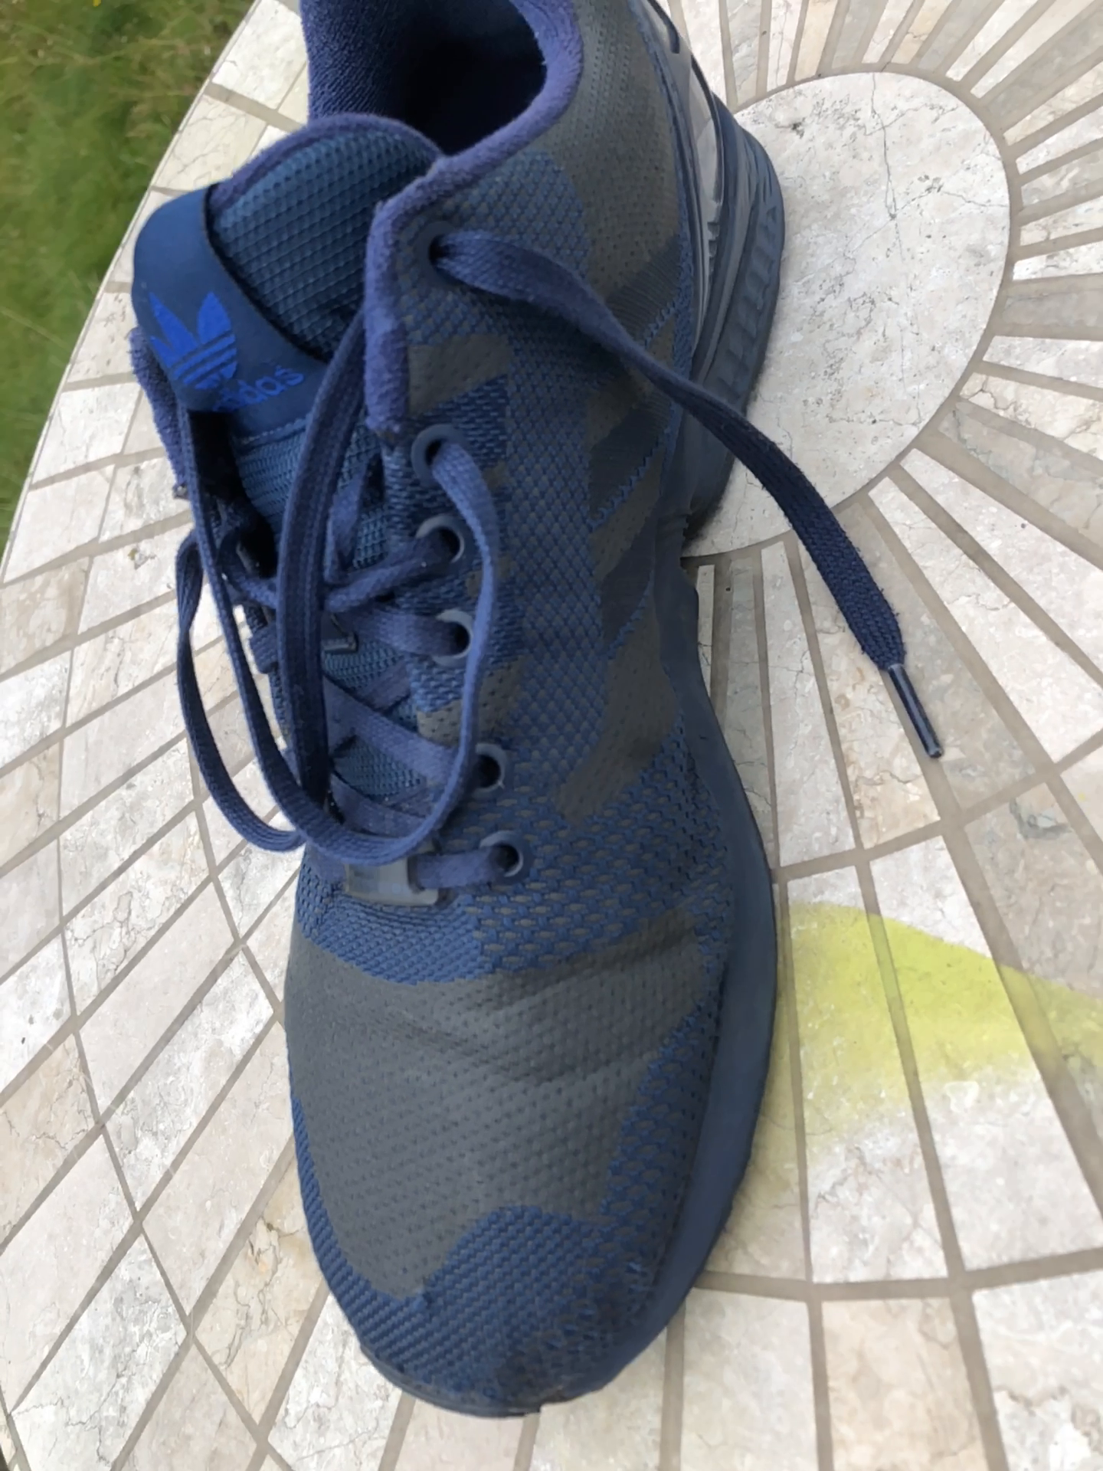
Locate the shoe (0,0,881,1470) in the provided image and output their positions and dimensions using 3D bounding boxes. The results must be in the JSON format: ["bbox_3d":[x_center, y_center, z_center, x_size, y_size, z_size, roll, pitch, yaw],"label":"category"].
[{"bbox_3d":[-0.022,-0.022,0.244,0.110,0.110,0.280,-3,73,41],"label":"shoe"}]
